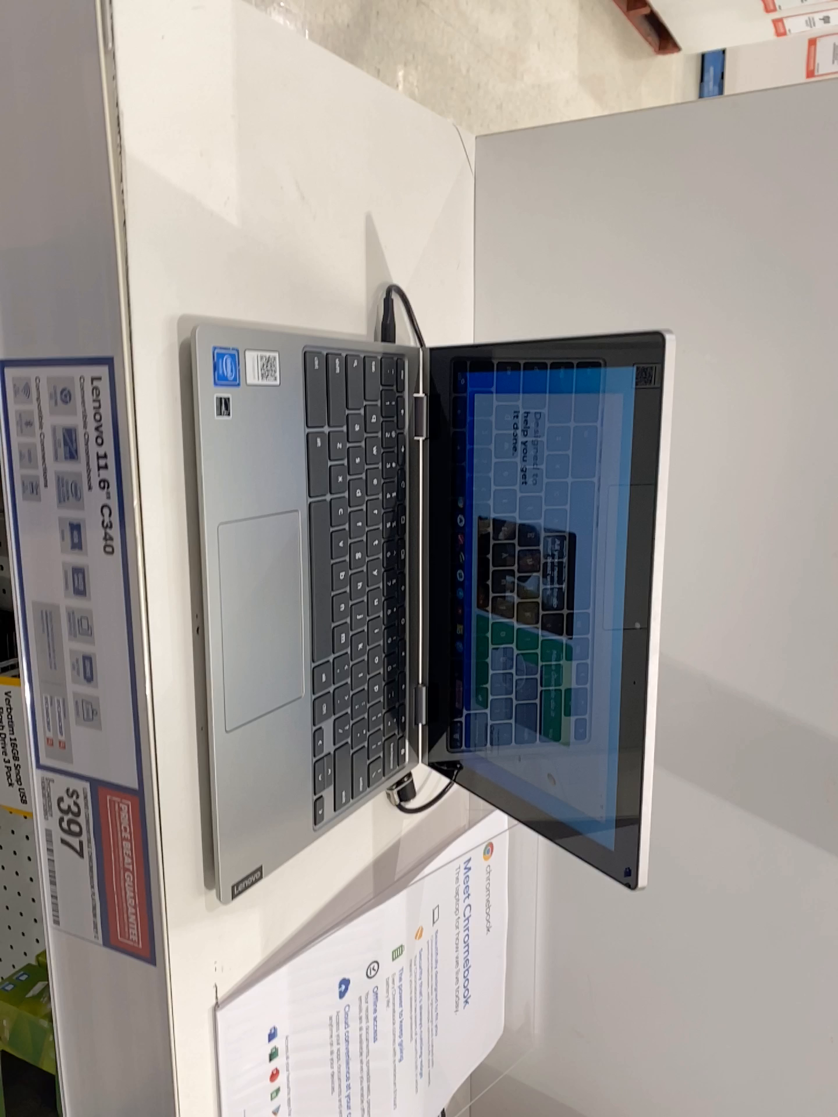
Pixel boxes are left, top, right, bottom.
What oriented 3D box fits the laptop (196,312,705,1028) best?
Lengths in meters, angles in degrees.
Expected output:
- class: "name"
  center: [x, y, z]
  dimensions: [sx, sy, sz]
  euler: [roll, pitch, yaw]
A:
- class: "laptop"
  center: [0.028, 0.030, 0.457]
  dimensions: [0.201, 0.180, 0.284]
  euler: [-16, 109, -58]
